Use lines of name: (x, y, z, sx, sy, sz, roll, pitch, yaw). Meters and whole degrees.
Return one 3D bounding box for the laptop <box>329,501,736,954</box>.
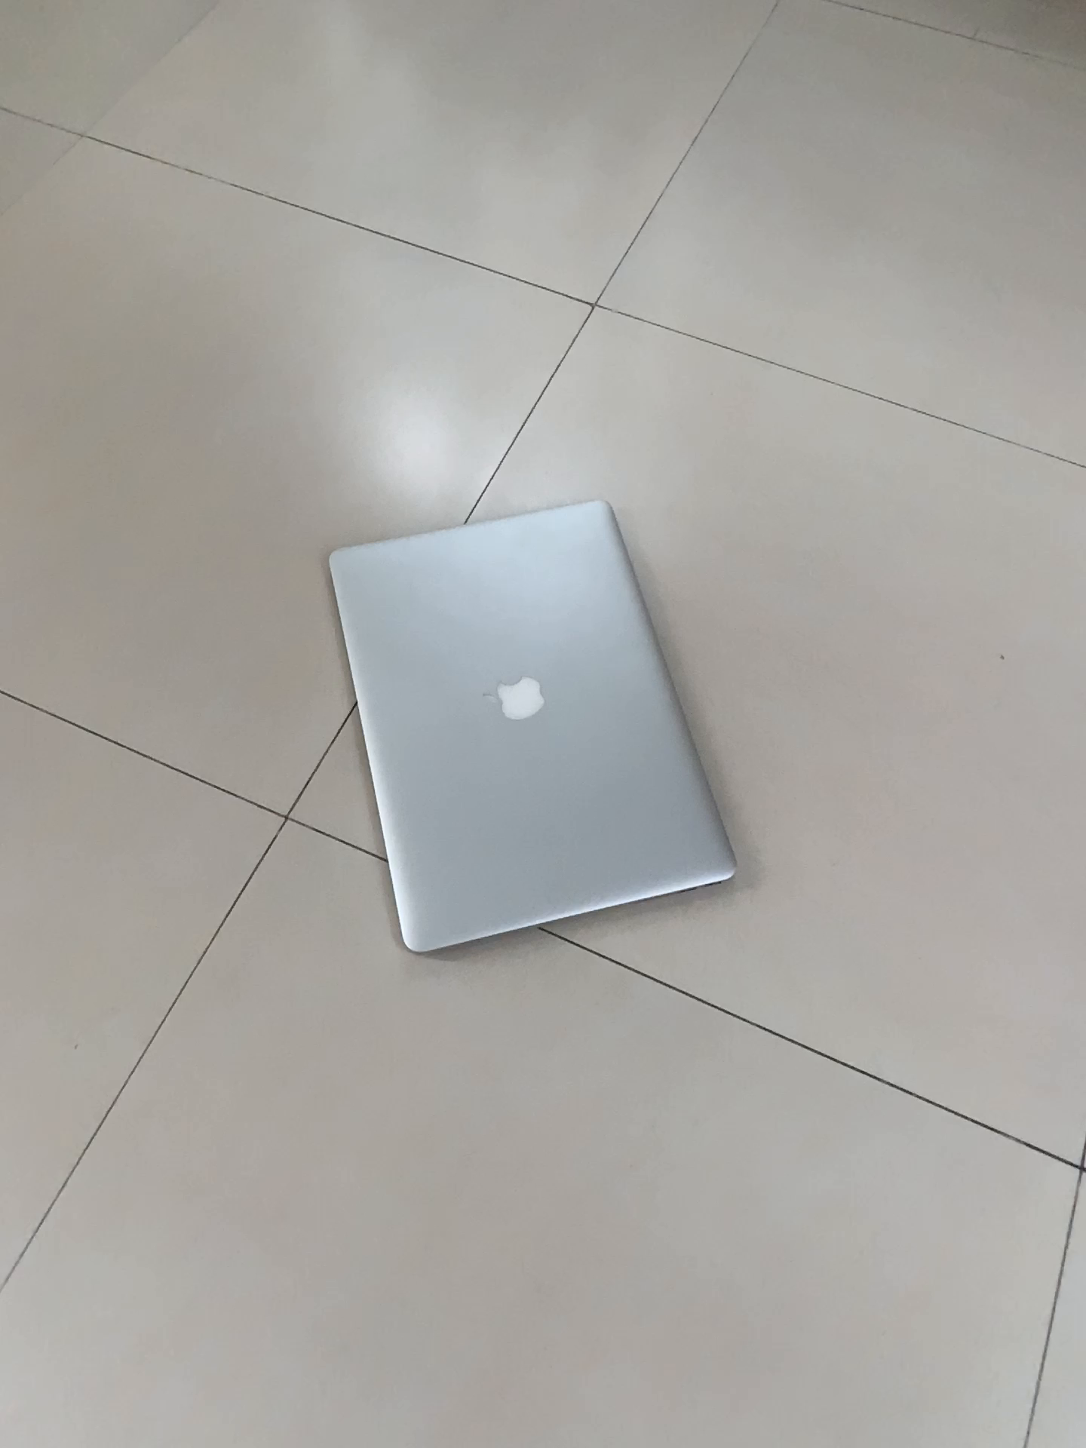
laptop: (-0.021, -0.017, 0.869, 0.239, 0.001, 0.356, -12, 62, -7)
